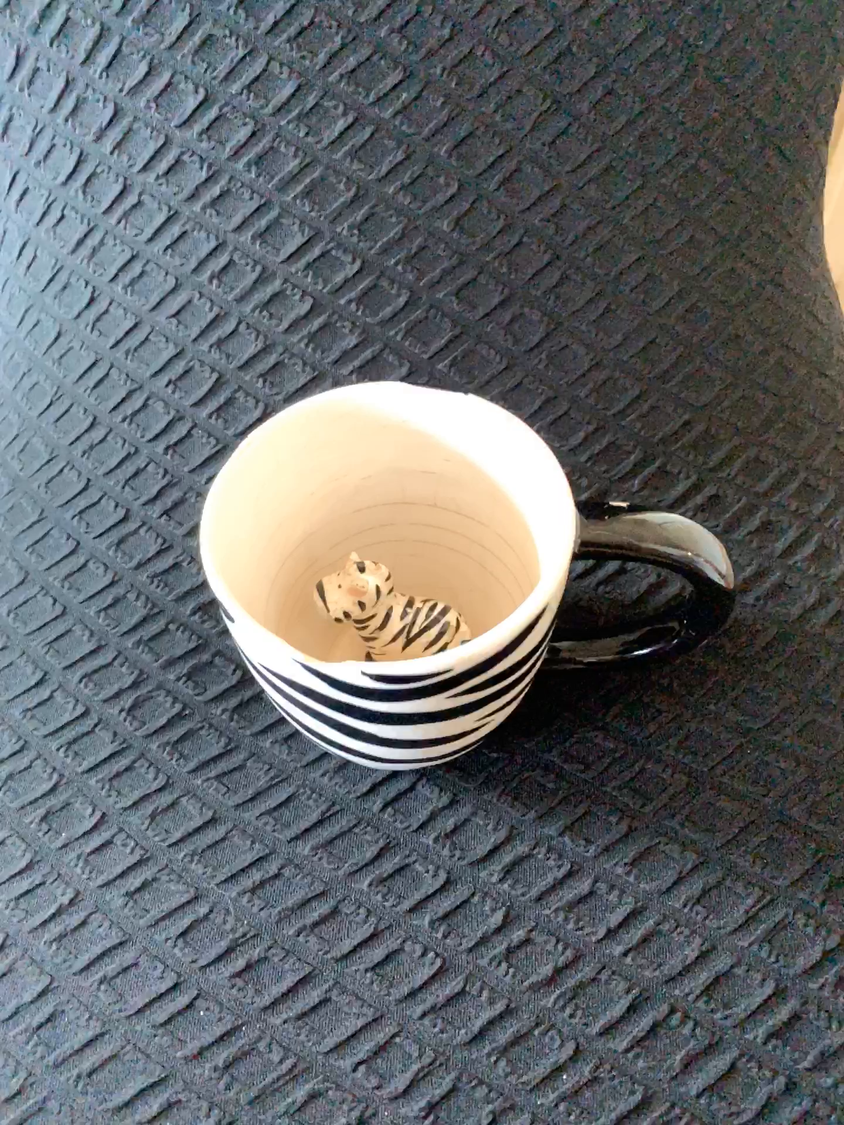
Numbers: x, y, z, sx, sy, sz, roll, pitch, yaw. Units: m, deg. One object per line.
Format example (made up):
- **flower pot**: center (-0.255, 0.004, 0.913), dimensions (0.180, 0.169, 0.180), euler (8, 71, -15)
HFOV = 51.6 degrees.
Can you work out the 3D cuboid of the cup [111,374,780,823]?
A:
- **cup**: center (0.010, 0.012, 0.240), dimensions (0.140, 0.090, 0.080), euler (4, 59, 8)
